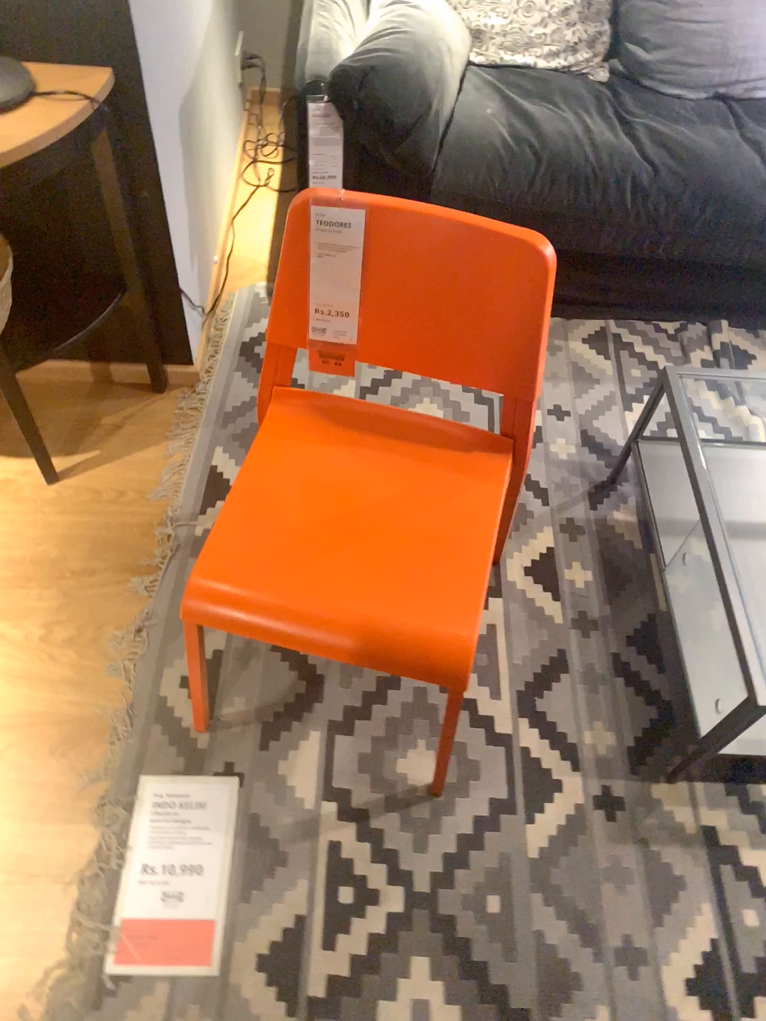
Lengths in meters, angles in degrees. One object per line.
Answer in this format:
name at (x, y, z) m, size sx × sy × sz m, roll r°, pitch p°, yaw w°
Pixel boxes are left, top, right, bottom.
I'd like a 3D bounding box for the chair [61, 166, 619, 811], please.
chair at (-0.021, 0.009, 1.204) m, size 0.520 × 0.728 × 0.582 m, roll 13°, pitch 54°, yaw 5°
